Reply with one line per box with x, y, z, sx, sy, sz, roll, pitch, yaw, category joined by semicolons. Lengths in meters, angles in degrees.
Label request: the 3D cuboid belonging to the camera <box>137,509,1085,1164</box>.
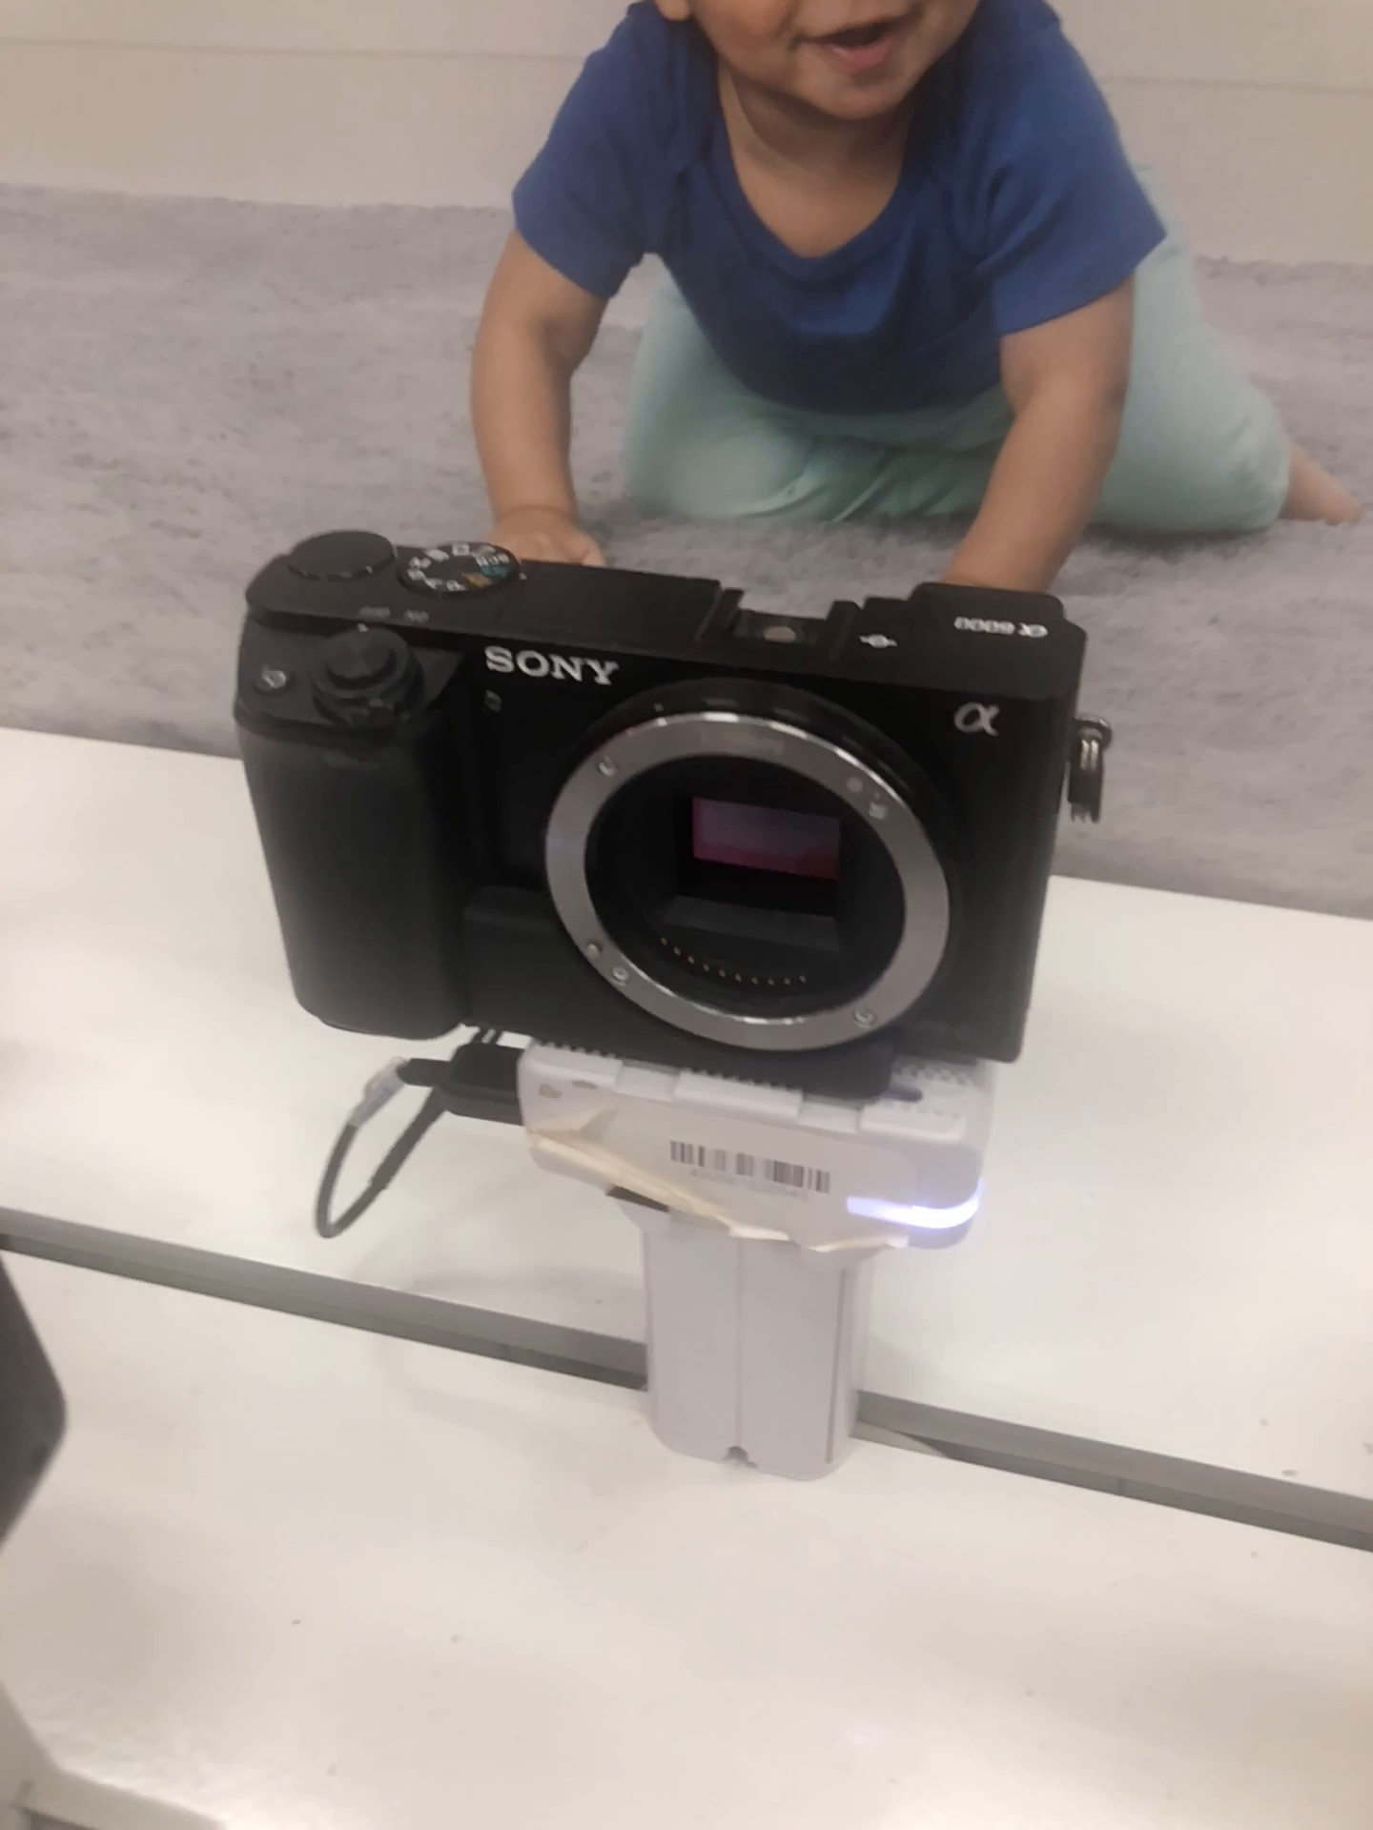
-0.009;-0.013;0.224;0.120;0.070;0.040;9;37;11;camera
